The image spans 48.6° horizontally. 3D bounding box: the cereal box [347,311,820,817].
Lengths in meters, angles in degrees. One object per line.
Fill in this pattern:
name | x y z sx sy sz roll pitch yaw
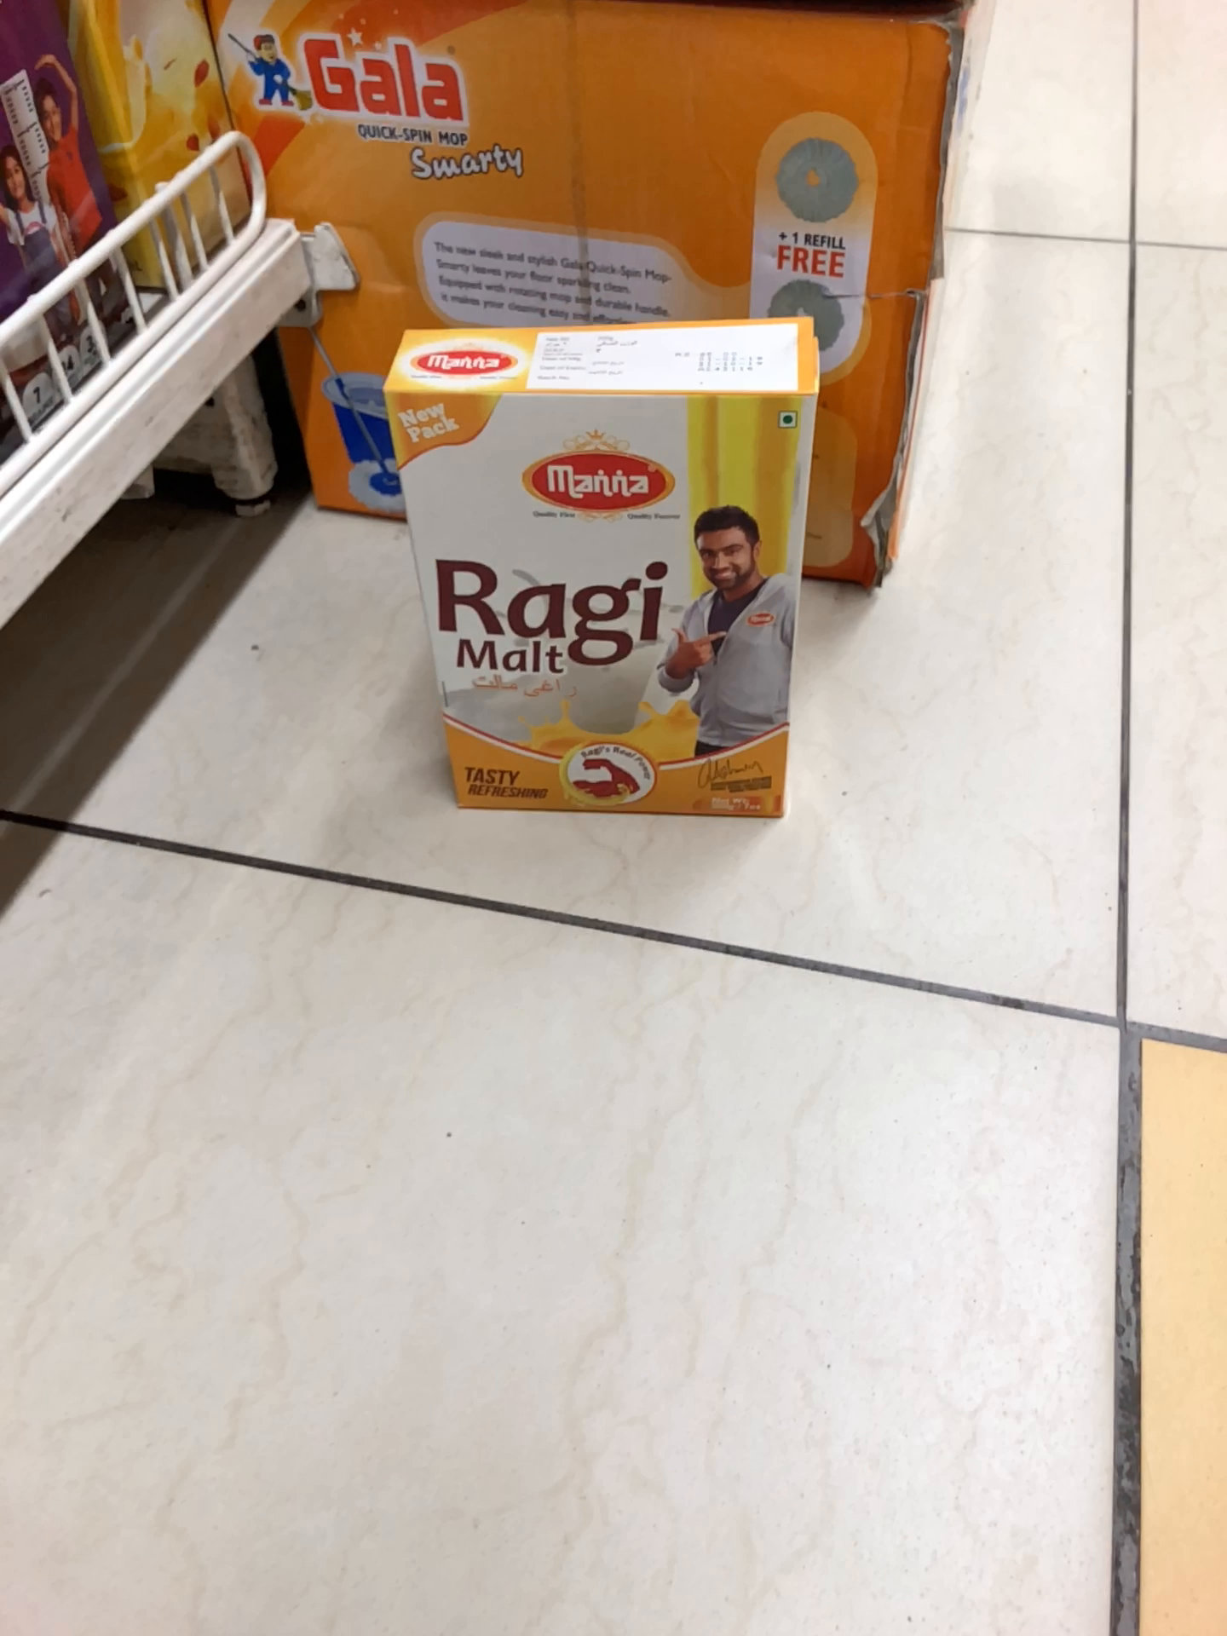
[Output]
cereal box | -0.004 -0.082 0.481 0.140 0.179 0.050 2 47 5
